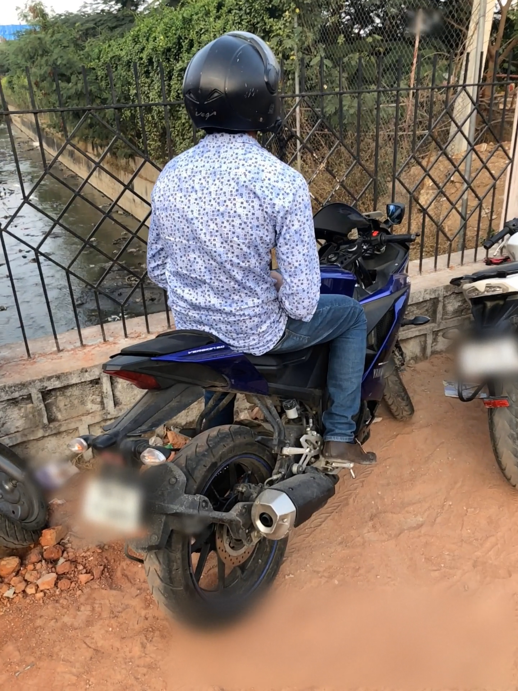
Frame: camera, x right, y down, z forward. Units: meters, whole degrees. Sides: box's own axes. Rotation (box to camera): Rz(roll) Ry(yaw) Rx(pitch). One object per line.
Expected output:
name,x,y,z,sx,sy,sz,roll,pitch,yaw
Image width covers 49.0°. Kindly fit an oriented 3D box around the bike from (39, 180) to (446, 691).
bike,0.189,0.073,2.251,0.731,0.994,1.955,8,29,23
